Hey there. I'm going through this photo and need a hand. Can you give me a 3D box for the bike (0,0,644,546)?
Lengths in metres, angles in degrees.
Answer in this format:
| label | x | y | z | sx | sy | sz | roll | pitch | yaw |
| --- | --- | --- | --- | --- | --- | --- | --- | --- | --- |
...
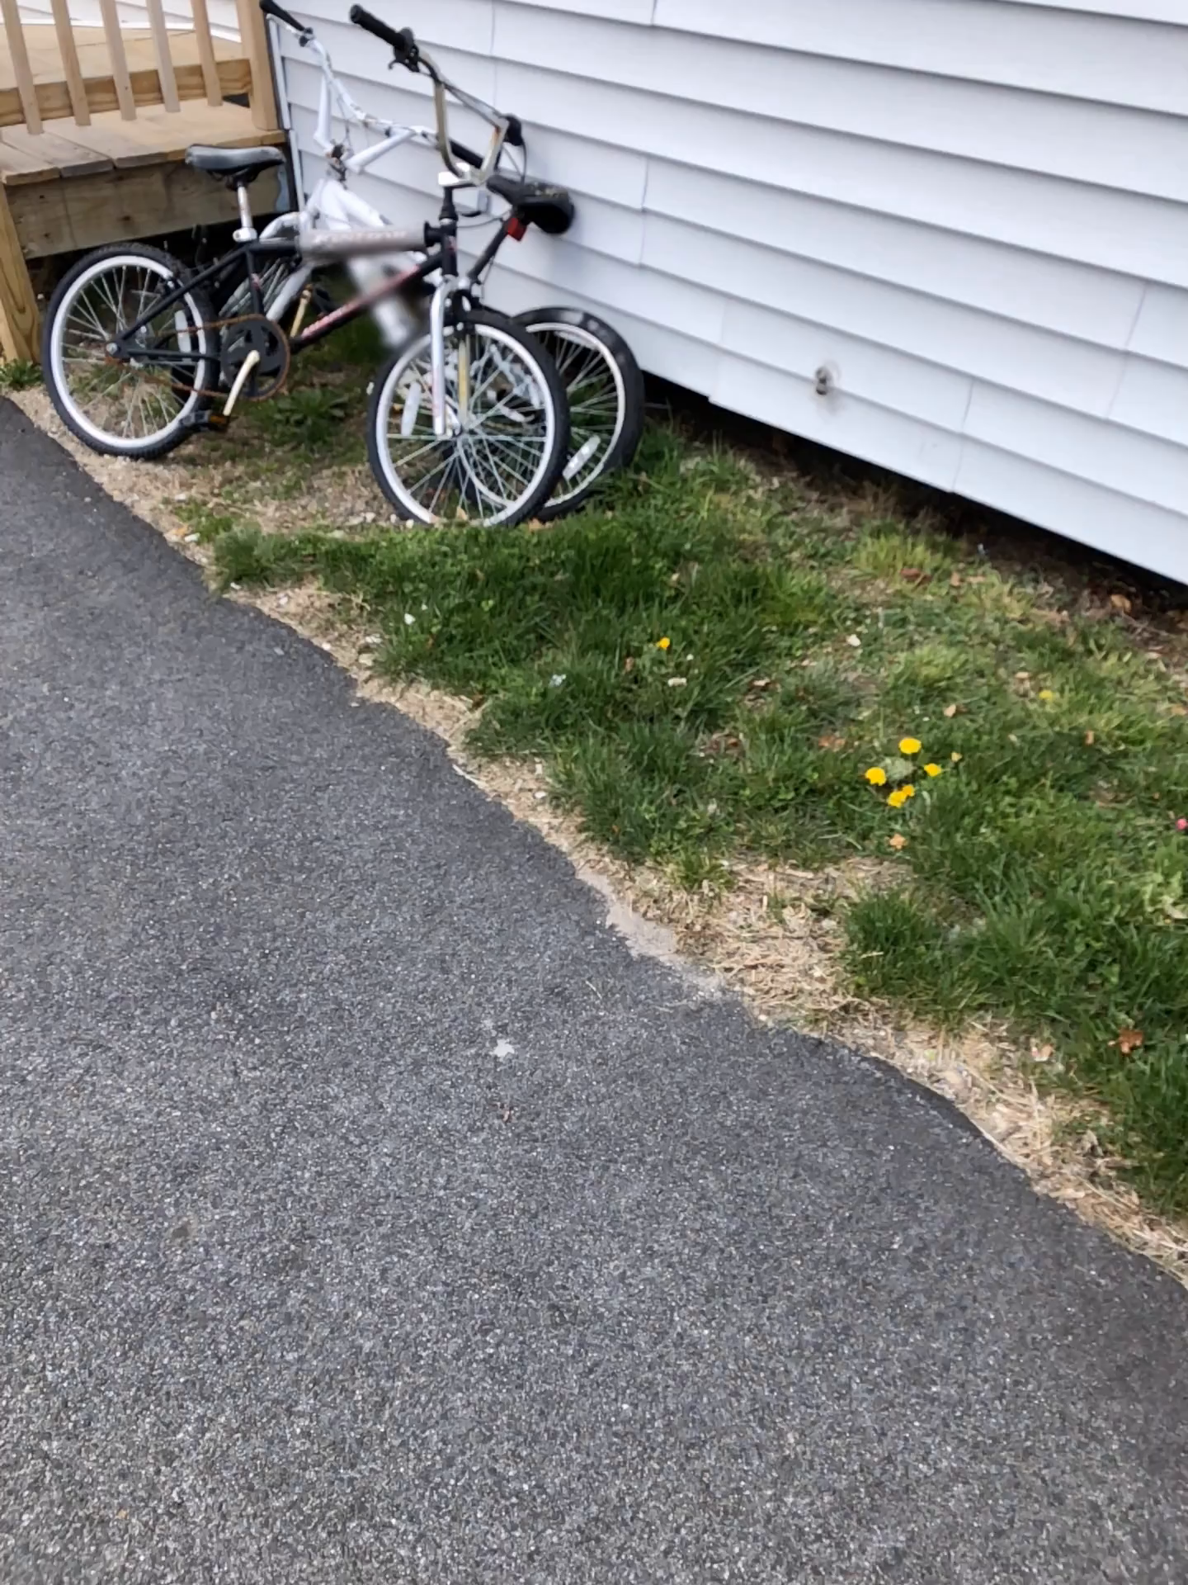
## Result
| label | x | y | z | sx | sy | sz | roll | pitch | yaw |
| --- | --- | --- | --- | --- | --- | --- | --- | --- | --- |
| bike | -0.627 | -1.196 | 2.749 | 1.294 | 0.932 | 0.762 | 11 | 39 | 17 |
